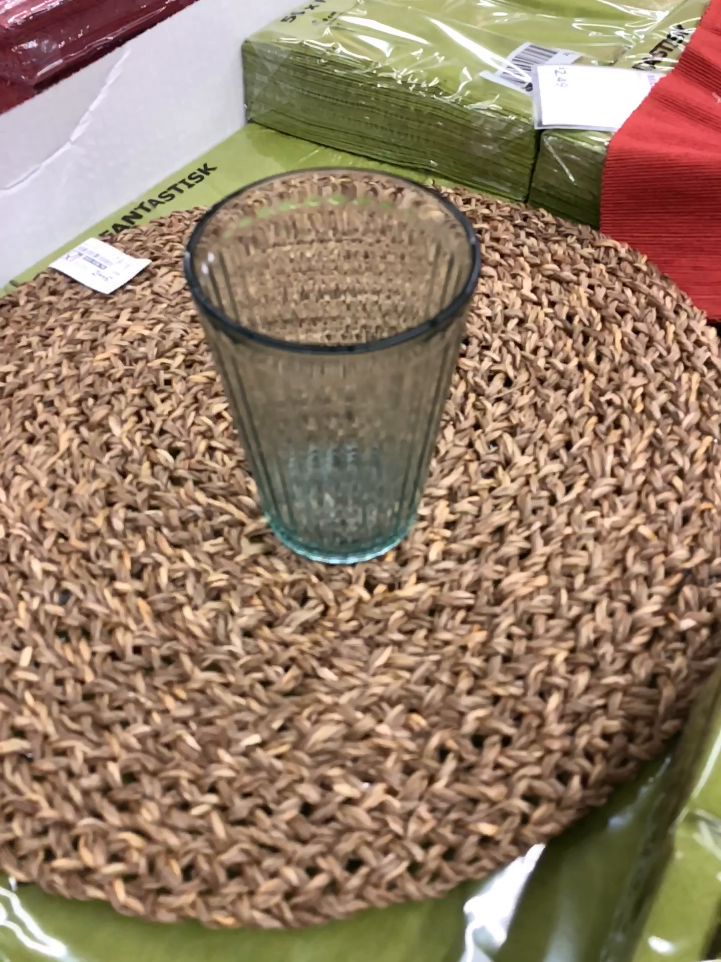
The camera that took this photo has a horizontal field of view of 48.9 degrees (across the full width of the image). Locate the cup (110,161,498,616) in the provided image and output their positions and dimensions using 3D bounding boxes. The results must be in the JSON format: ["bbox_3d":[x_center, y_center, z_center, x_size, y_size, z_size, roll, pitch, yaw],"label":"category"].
[{"bbox_3d":[-0.007,-0.026,0.238,0.080,0.100,0.080,-2,49,3],"label":"cup"}]
